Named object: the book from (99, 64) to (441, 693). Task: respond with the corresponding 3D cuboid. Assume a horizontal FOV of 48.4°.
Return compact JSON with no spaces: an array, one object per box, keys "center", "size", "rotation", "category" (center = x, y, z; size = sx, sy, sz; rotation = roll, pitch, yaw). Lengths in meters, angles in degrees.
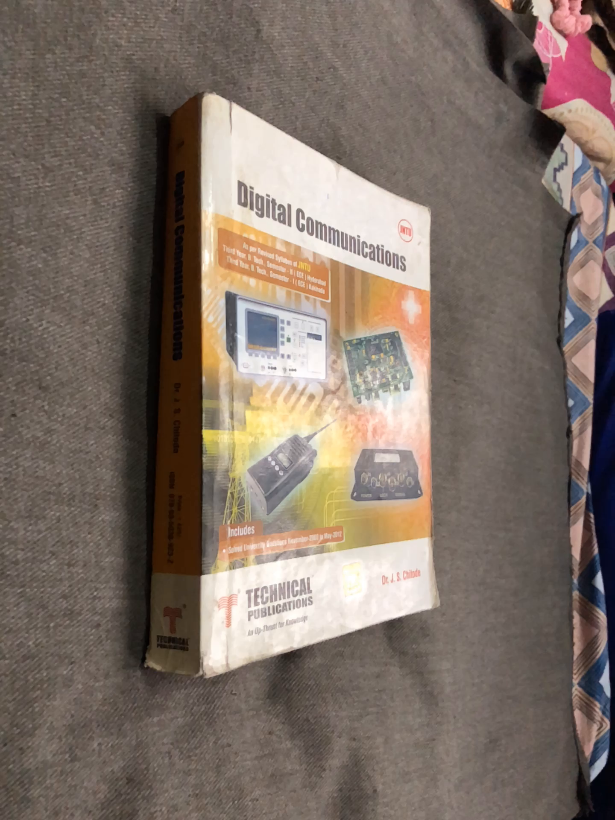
[{"center":[-0.005,-0.009,0.343],"size":[0.182,0.050,0.241],"rotation":[7,82,-47],"category":"book"}]
